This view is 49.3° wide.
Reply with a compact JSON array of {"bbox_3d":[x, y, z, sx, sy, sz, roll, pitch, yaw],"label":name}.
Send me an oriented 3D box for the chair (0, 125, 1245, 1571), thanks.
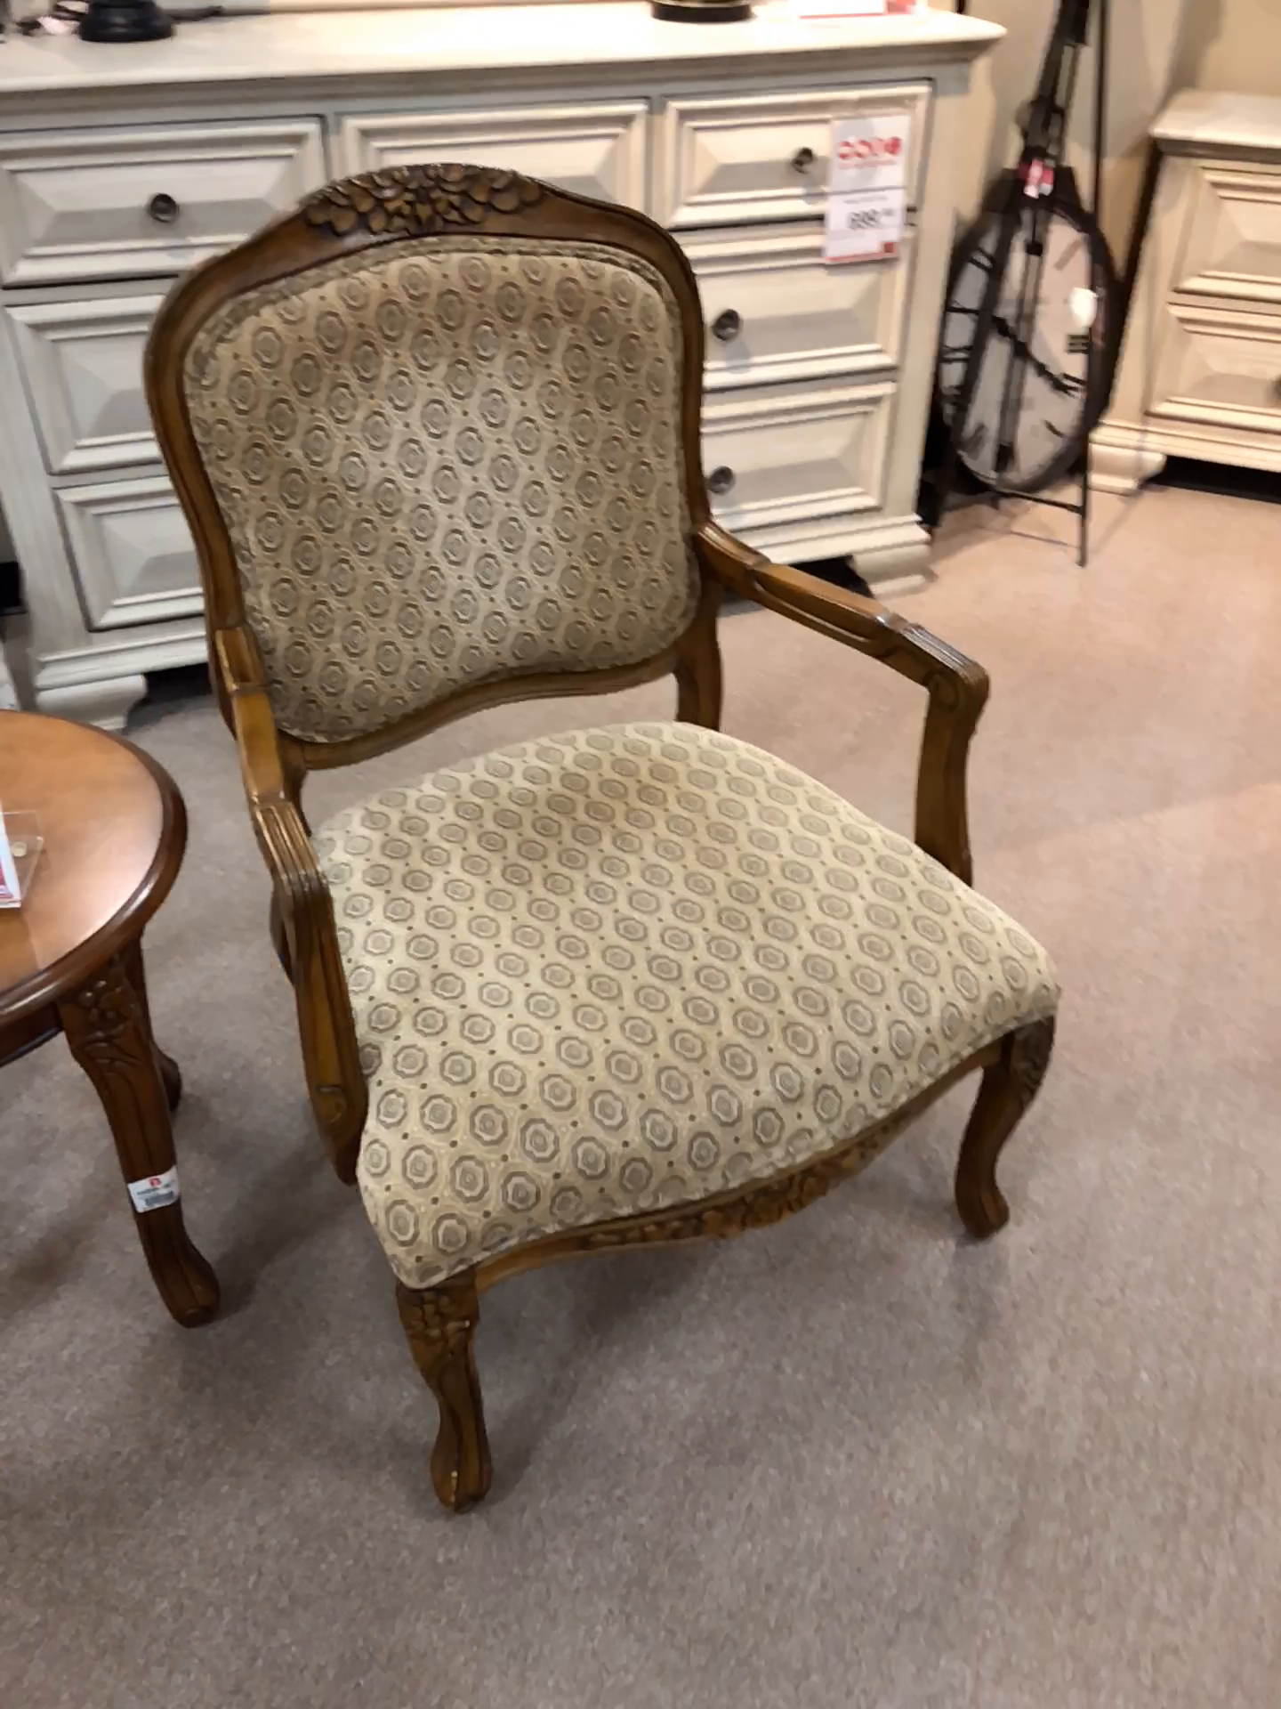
[{"bbox_3d":[-0.089,-0.045,1.398,0.781,1.063,0.704,-18,41,-23],"label":"chair"}]
